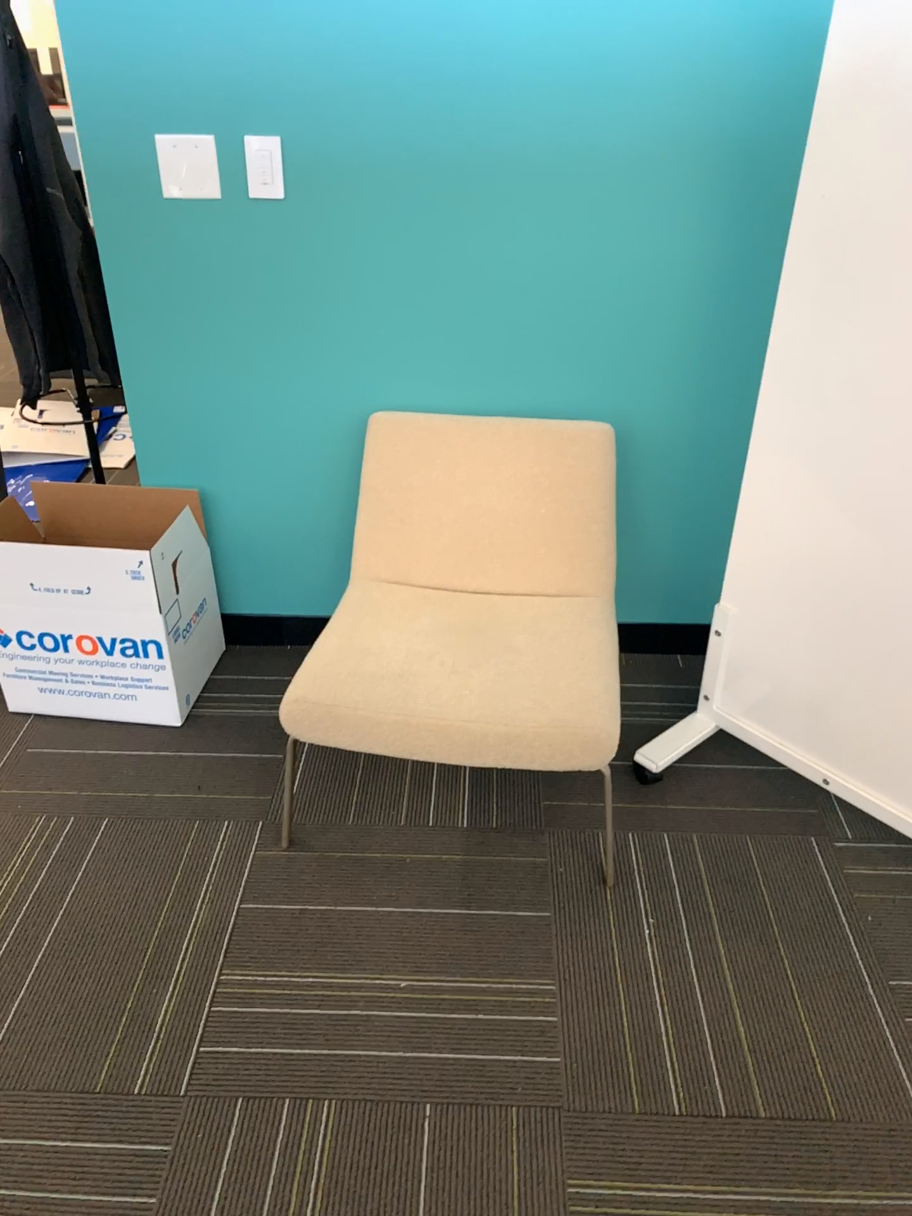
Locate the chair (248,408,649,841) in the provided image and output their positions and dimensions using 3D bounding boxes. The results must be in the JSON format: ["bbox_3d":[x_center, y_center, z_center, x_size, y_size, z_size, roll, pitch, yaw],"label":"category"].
[{"bbox_3d":[0.022,-0.011,1.982,0.660,0.567,0.734,4,32,6],"label":"chair"}]
